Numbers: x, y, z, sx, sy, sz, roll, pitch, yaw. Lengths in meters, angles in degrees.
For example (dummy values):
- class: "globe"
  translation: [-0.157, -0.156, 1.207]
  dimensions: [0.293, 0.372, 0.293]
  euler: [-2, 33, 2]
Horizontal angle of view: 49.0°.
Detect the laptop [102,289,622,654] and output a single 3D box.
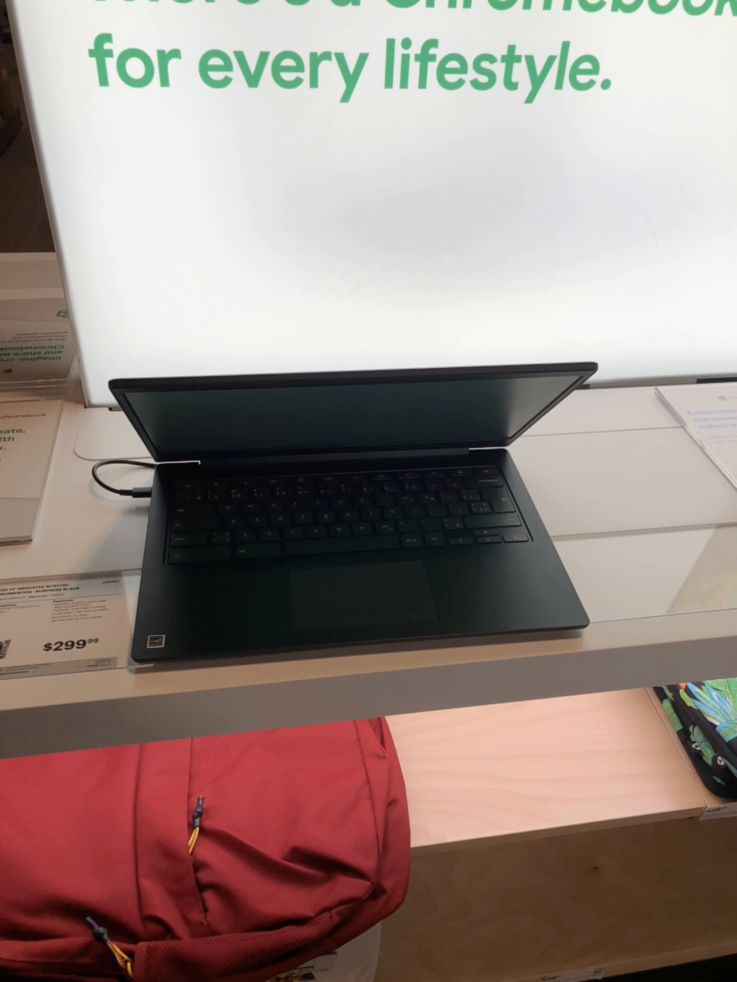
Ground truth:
- class: "laptop"
  translation: [-0.015, -0.027, 0.603]
  dimensions: [0.306, 0.157, 0.214]
  euler: [-3, 38, -7]
